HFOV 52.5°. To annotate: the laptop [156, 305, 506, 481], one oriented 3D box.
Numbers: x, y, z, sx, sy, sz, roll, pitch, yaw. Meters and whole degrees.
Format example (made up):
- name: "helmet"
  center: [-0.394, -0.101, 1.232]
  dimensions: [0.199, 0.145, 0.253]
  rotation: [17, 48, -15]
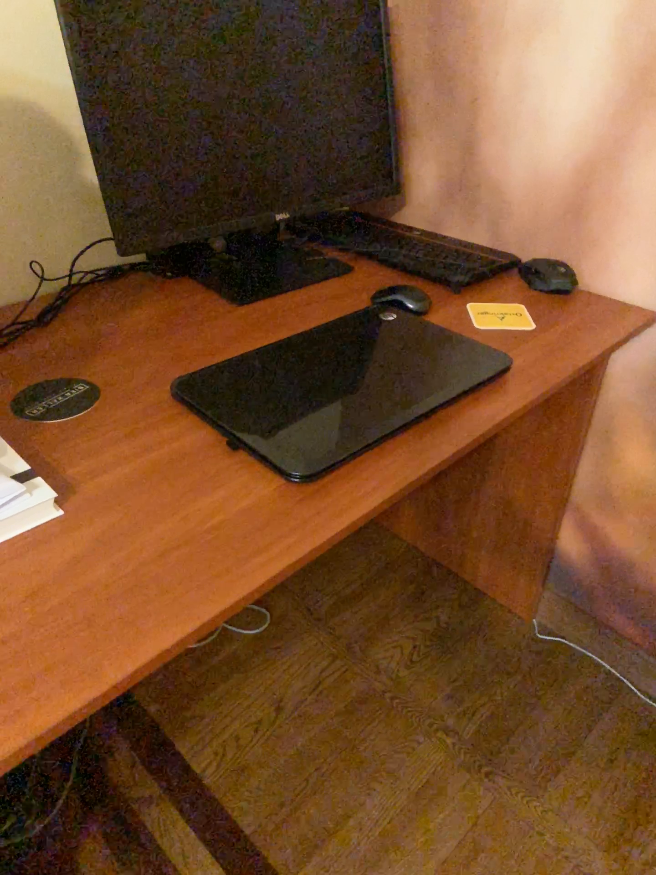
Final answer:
- name: "laptop"
  center: [0.013, -0.080, 0.854]
  dimensions: [0.383, 0.001, 0.243]
  rotation: [-28, 44, -34]
